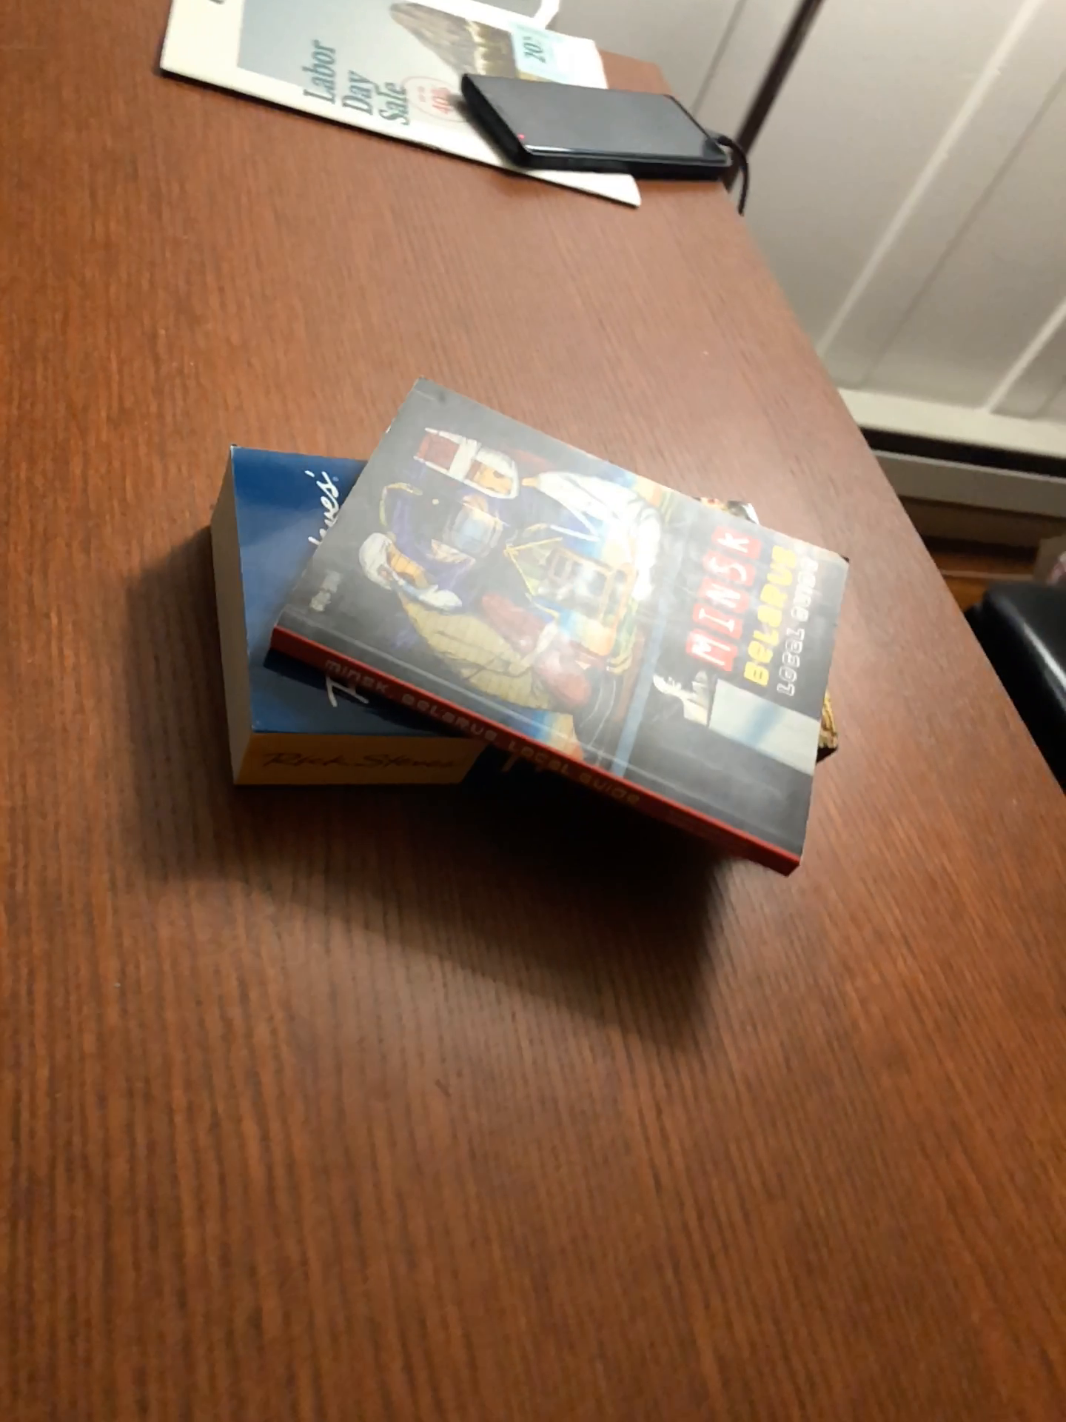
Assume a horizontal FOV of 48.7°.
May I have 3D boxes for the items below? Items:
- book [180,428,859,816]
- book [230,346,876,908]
[{"bbox_3d":[-0.007,-0.030,0.421,0.220,0.040,0.131,2,52,-23],"label":"book"},{"bbox_3d":[0.021,-0.036,0.385,0.190,0.020,0.151,22,47,-6],"label":"book"}]
